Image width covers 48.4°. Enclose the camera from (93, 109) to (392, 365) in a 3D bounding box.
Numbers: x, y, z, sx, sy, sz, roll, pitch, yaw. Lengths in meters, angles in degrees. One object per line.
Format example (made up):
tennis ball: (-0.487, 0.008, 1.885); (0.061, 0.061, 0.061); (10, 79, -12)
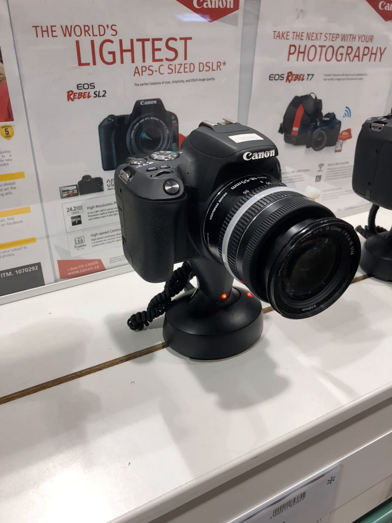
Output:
camera: (0.025, -0.033, 0.277); (0.130, 0.090, 0.140); (-16, 32, -26)
